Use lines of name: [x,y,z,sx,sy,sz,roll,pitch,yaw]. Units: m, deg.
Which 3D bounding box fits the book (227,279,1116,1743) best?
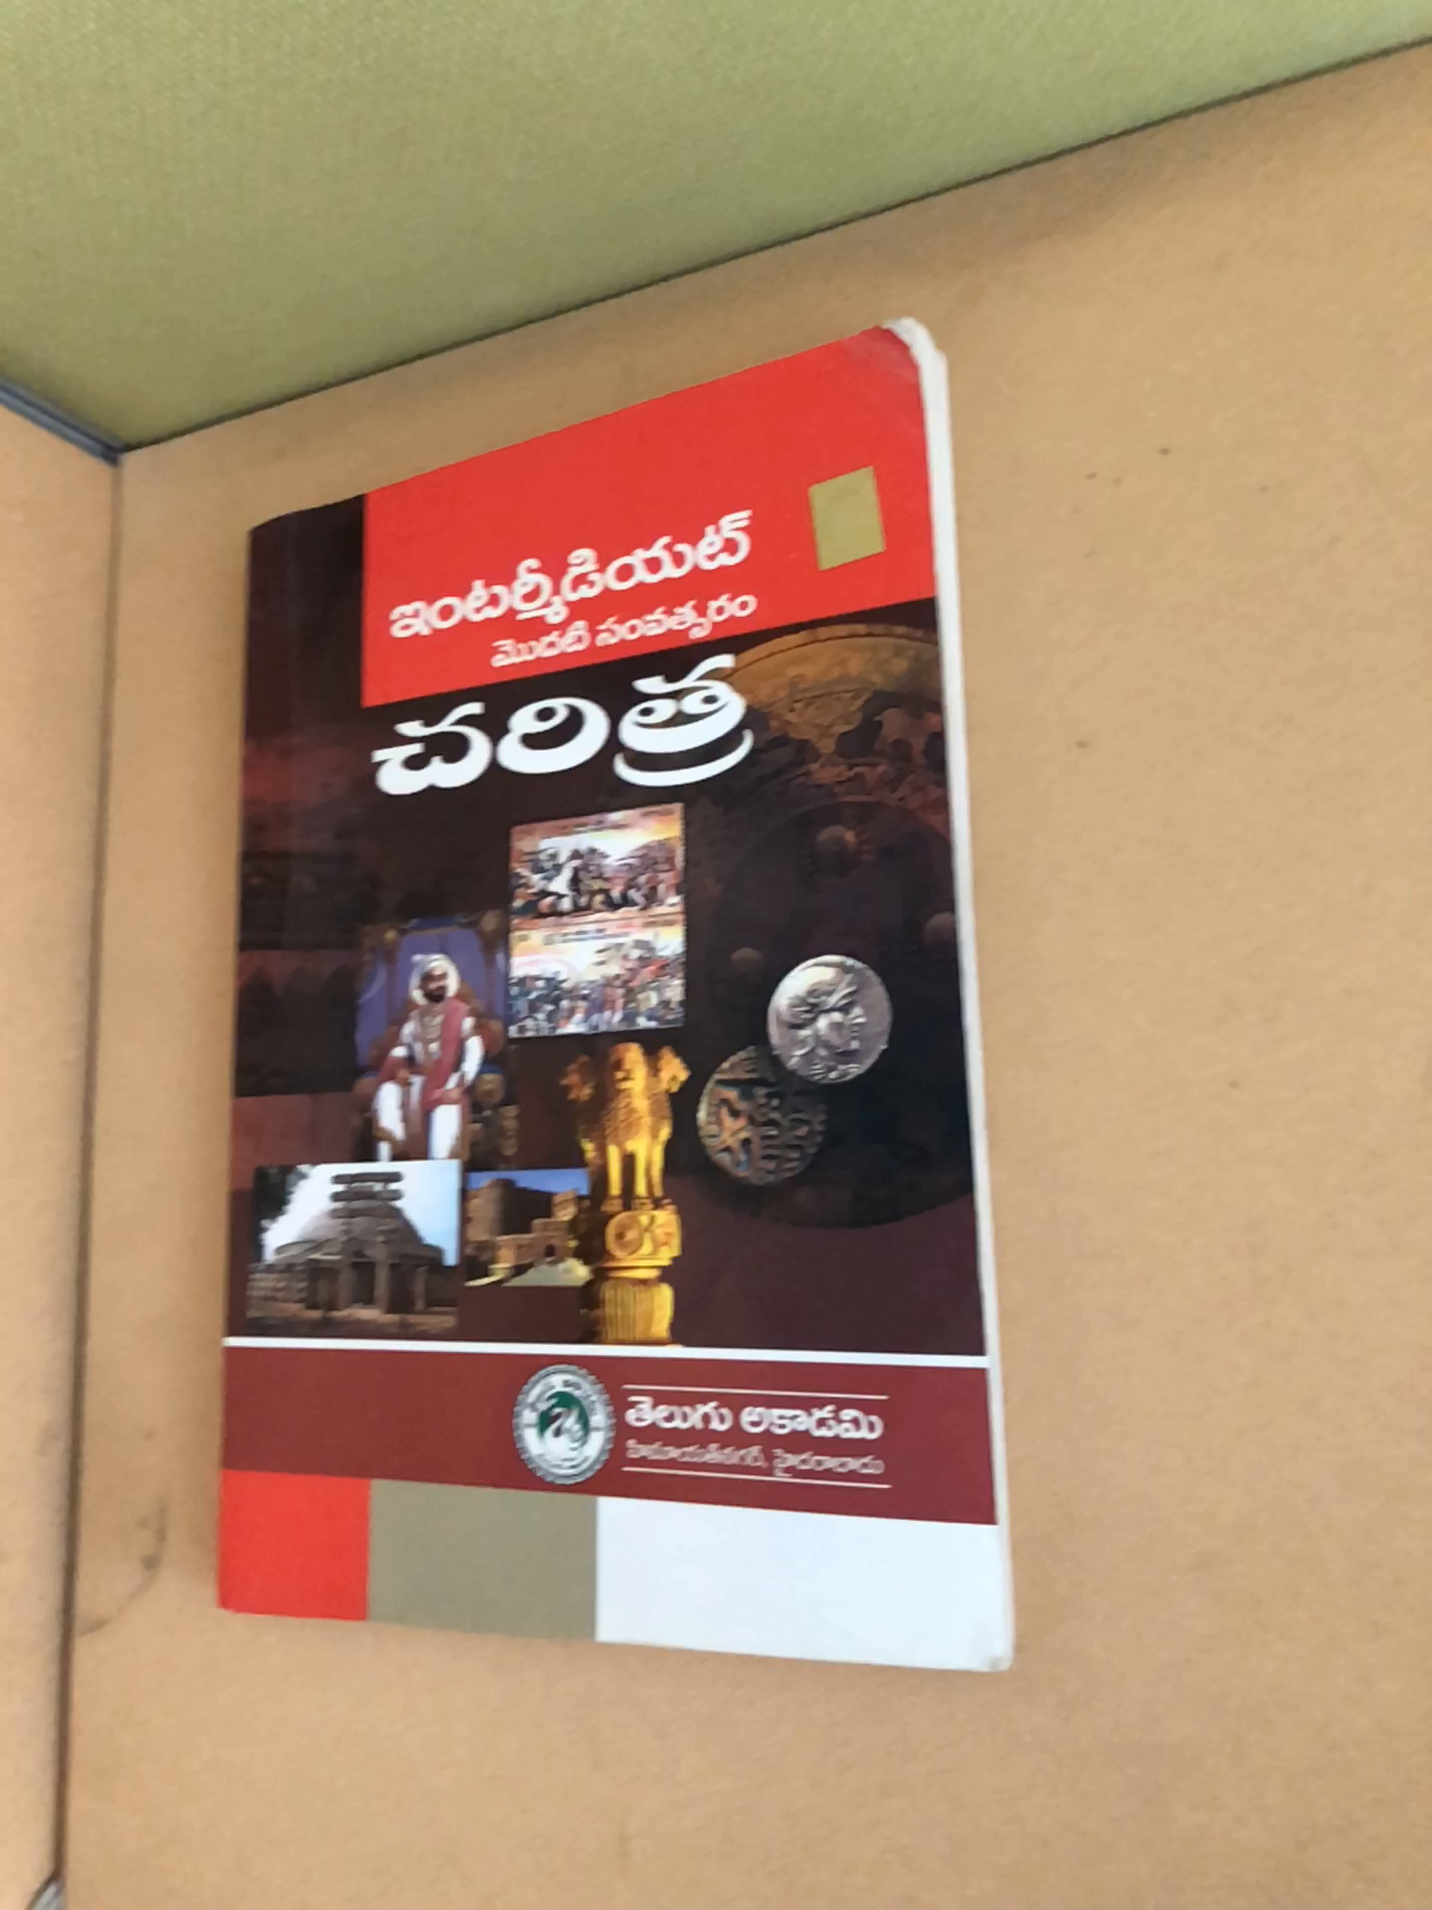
book: [-0.022,0.011,0.367,0.201,0.030,0.290,-7,78,26]
